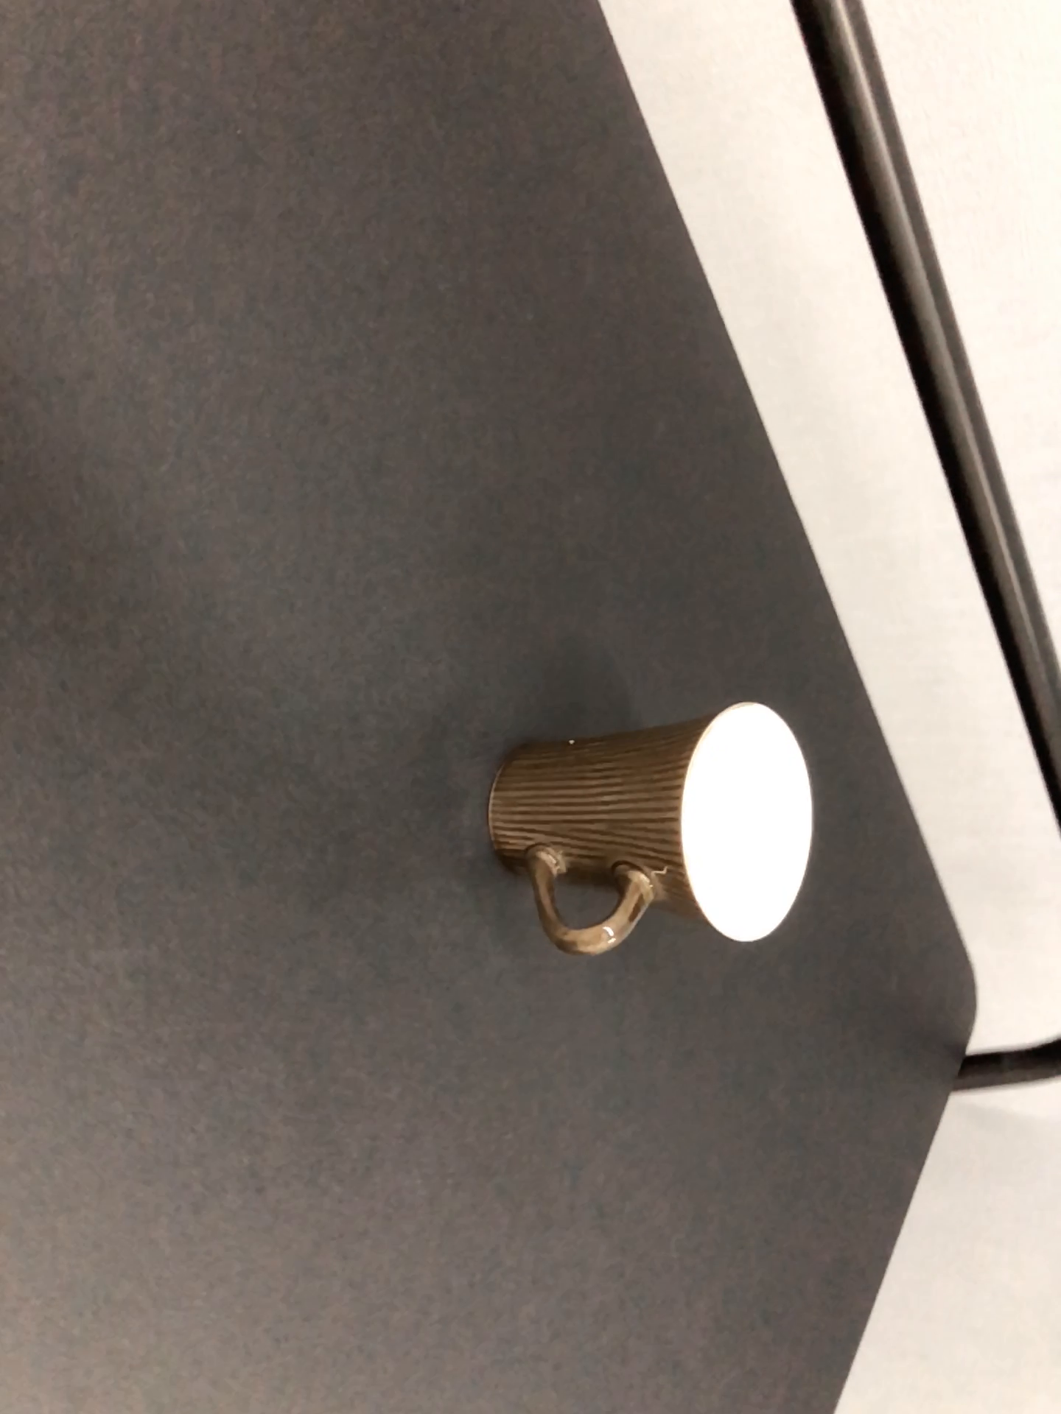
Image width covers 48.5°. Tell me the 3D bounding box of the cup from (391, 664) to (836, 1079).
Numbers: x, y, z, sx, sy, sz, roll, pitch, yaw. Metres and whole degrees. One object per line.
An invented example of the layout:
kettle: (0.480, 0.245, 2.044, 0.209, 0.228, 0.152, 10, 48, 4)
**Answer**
cup: (0.026, 0.040, 0.325, 0.090, 0.069, 0.065, -42, 119, -41)
